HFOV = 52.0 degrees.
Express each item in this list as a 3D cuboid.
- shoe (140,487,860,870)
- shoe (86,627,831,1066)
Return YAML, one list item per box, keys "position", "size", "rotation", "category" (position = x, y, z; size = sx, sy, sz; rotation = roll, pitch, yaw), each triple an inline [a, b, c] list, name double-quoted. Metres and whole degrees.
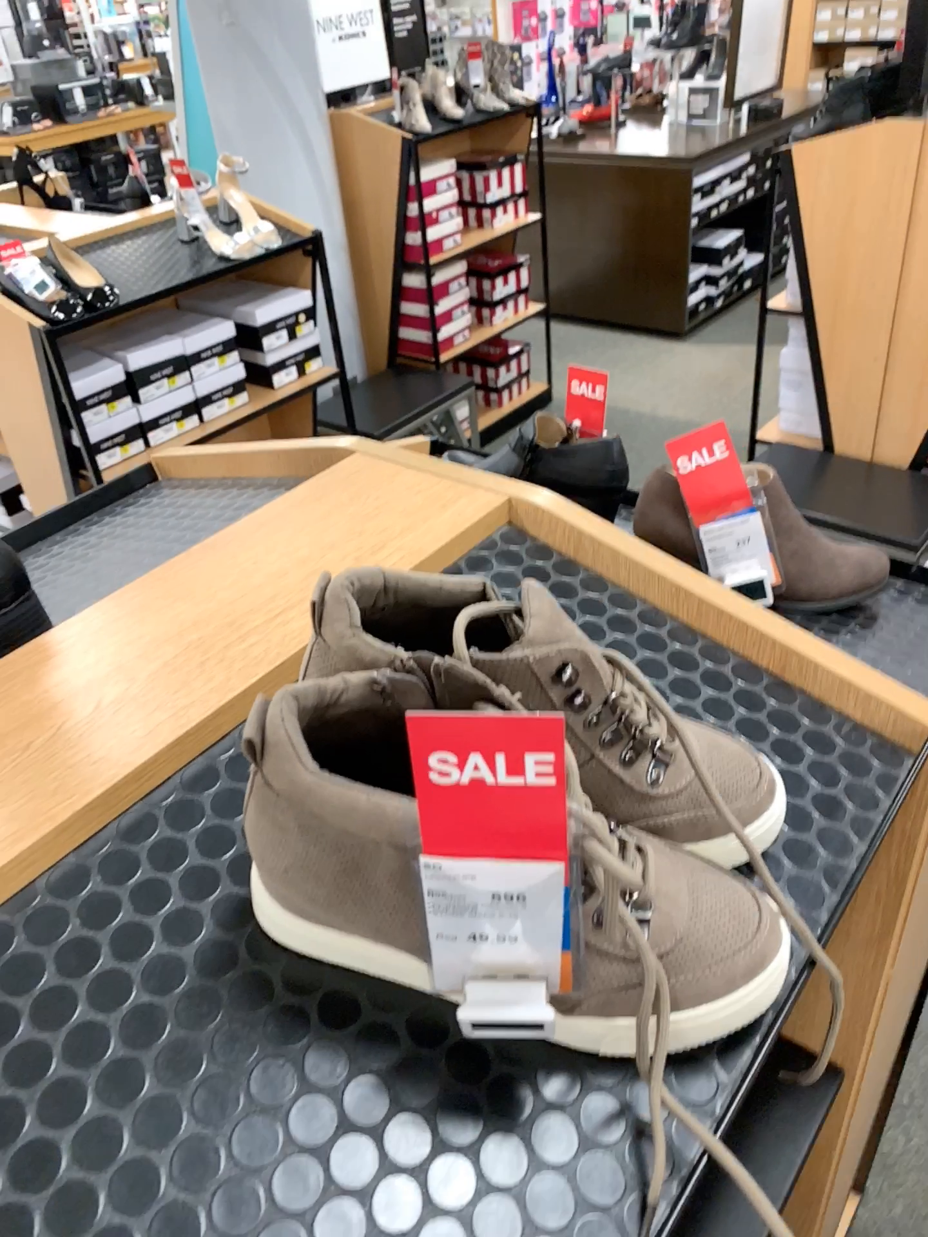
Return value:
- position: [0.018, 0.035, 0.473]
  size: [0.290, 0.160, 0.101]
  rotation: [-2, 41, 4]
  category: "shoe"
- position: [0.003, 0.100, 0.418]
  size: [0.260, 0.160, 0.101]
  rotation: [1, 42, 8]
  category: "shoe"
